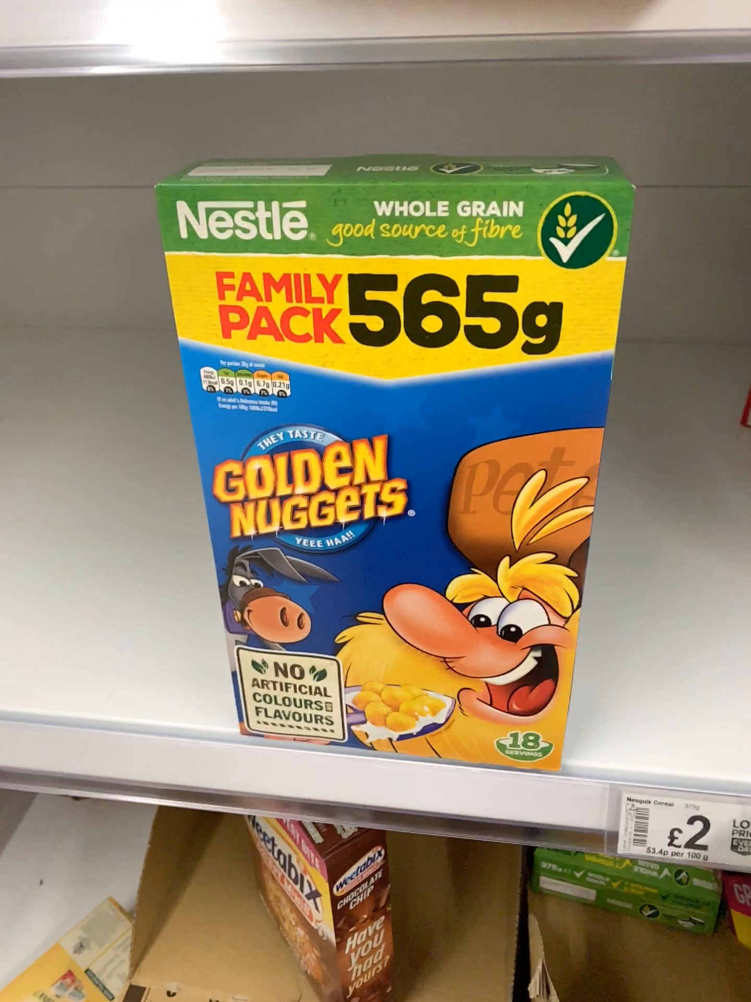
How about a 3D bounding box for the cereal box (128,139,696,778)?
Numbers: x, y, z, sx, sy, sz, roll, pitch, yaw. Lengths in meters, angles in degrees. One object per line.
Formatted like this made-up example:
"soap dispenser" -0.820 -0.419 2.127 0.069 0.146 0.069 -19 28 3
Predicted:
"cereal box" 0.018 -0.012 0.399 0.210 0.307 0.091 4 31 9
